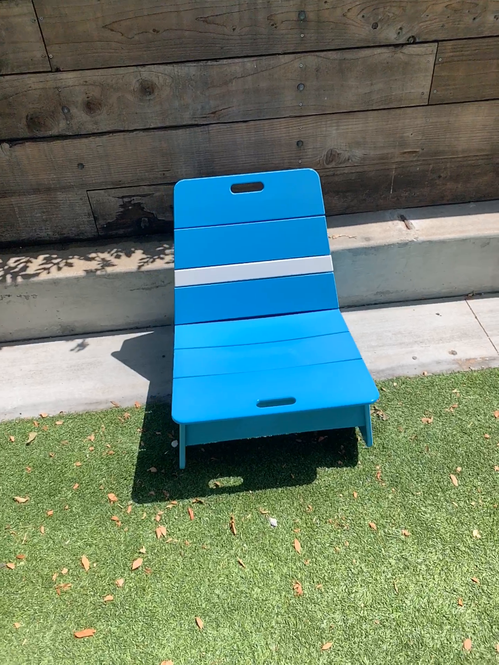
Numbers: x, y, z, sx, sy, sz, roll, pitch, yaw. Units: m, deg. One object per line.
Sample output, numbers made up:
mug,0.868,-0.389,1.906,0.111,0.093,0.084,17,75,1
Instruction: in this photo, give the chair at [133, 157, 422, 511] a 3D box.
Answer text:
chair,0.050,0.004,1.561,0.590,0.746,0.724,-4,44,-1
